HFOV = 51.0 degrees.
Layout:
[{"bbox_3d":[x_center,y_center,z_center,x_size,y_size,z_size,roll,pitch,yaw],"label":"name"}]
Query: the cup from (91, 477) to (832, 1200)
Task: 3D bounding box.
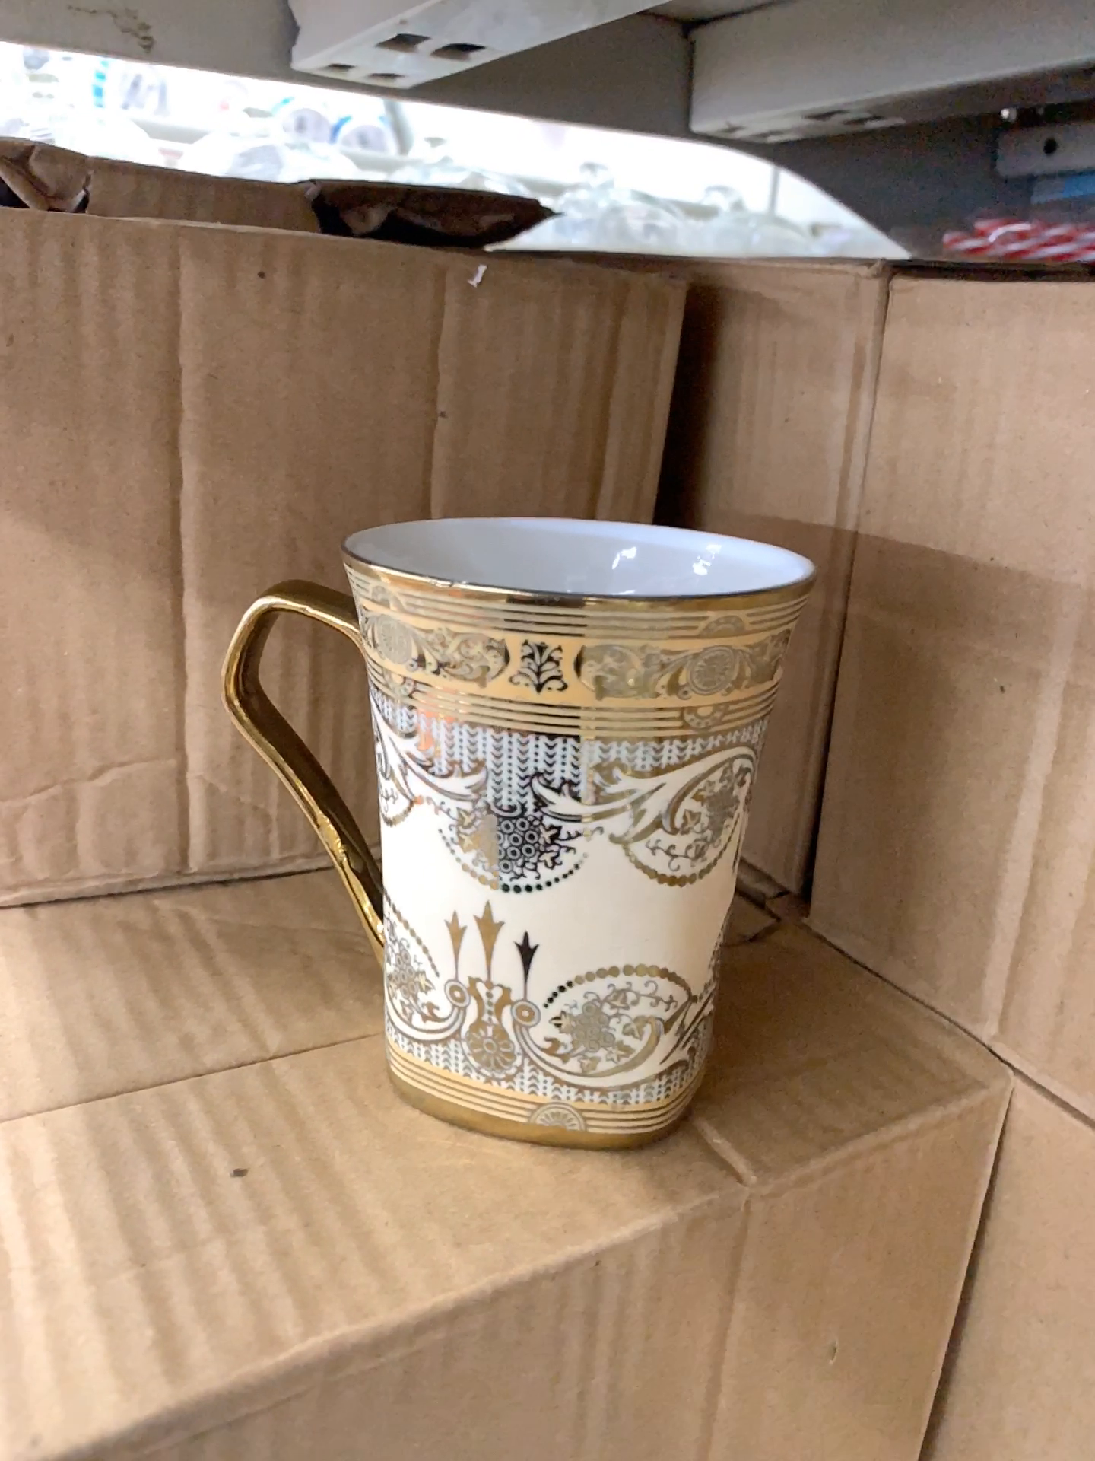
[{"bbox_3d":[-0.009,0.008,0.213,0.104,0.092,0.084,8,20,16],"label":"cup"}]
